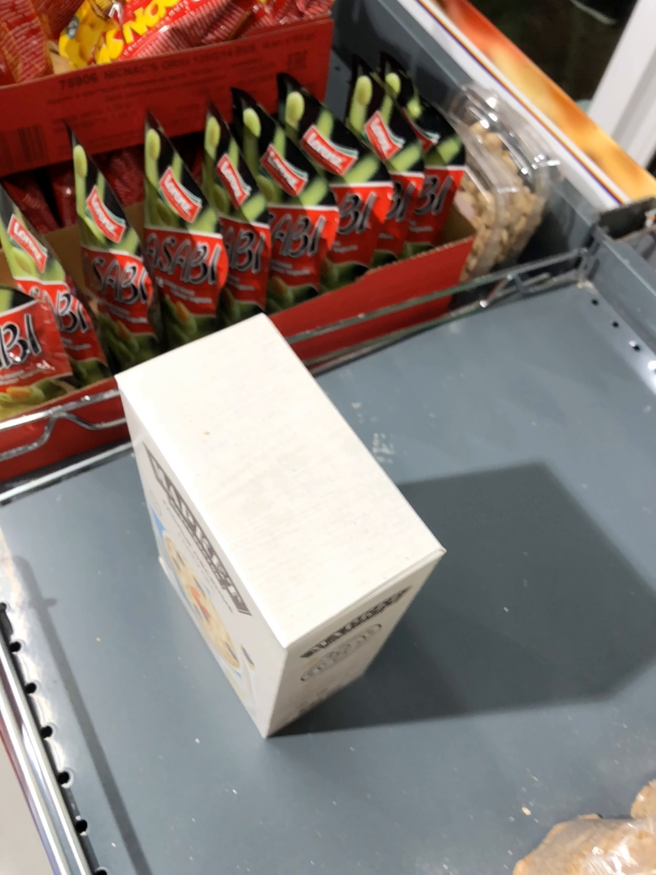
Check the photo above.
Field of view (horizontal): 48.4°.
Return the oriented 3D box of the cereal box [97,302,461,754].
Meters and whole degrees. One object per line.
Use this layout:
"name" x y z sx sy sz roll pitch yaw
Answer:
"cereal box" -0.031 0.056 0.342 0.070 0.189 0.130 -29 67 -22
